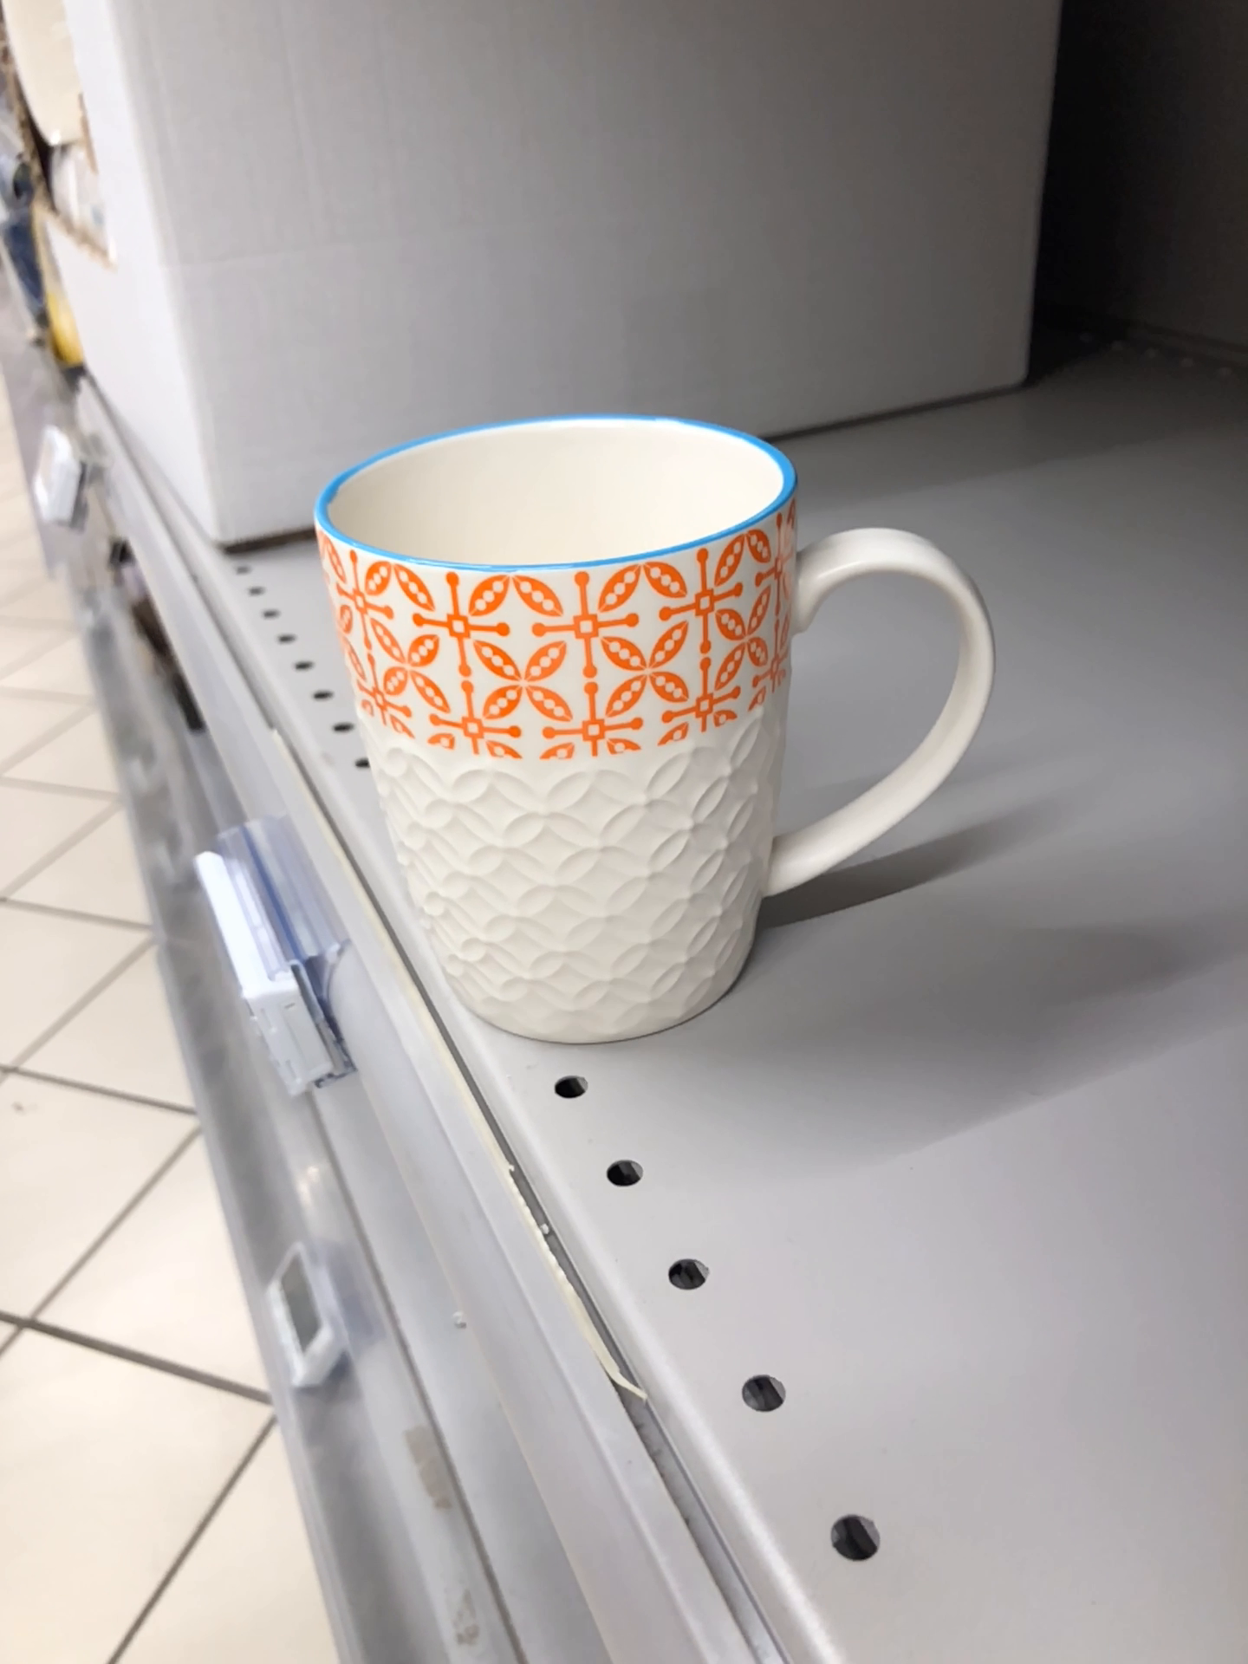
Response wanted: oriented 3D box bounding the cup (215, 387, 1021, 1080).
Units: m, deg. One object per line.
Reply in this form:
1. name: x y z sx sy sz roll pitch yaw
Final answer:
1. cup: 0.005 -0.022 0.263 0.117 0.095 0.092 0 31 7
